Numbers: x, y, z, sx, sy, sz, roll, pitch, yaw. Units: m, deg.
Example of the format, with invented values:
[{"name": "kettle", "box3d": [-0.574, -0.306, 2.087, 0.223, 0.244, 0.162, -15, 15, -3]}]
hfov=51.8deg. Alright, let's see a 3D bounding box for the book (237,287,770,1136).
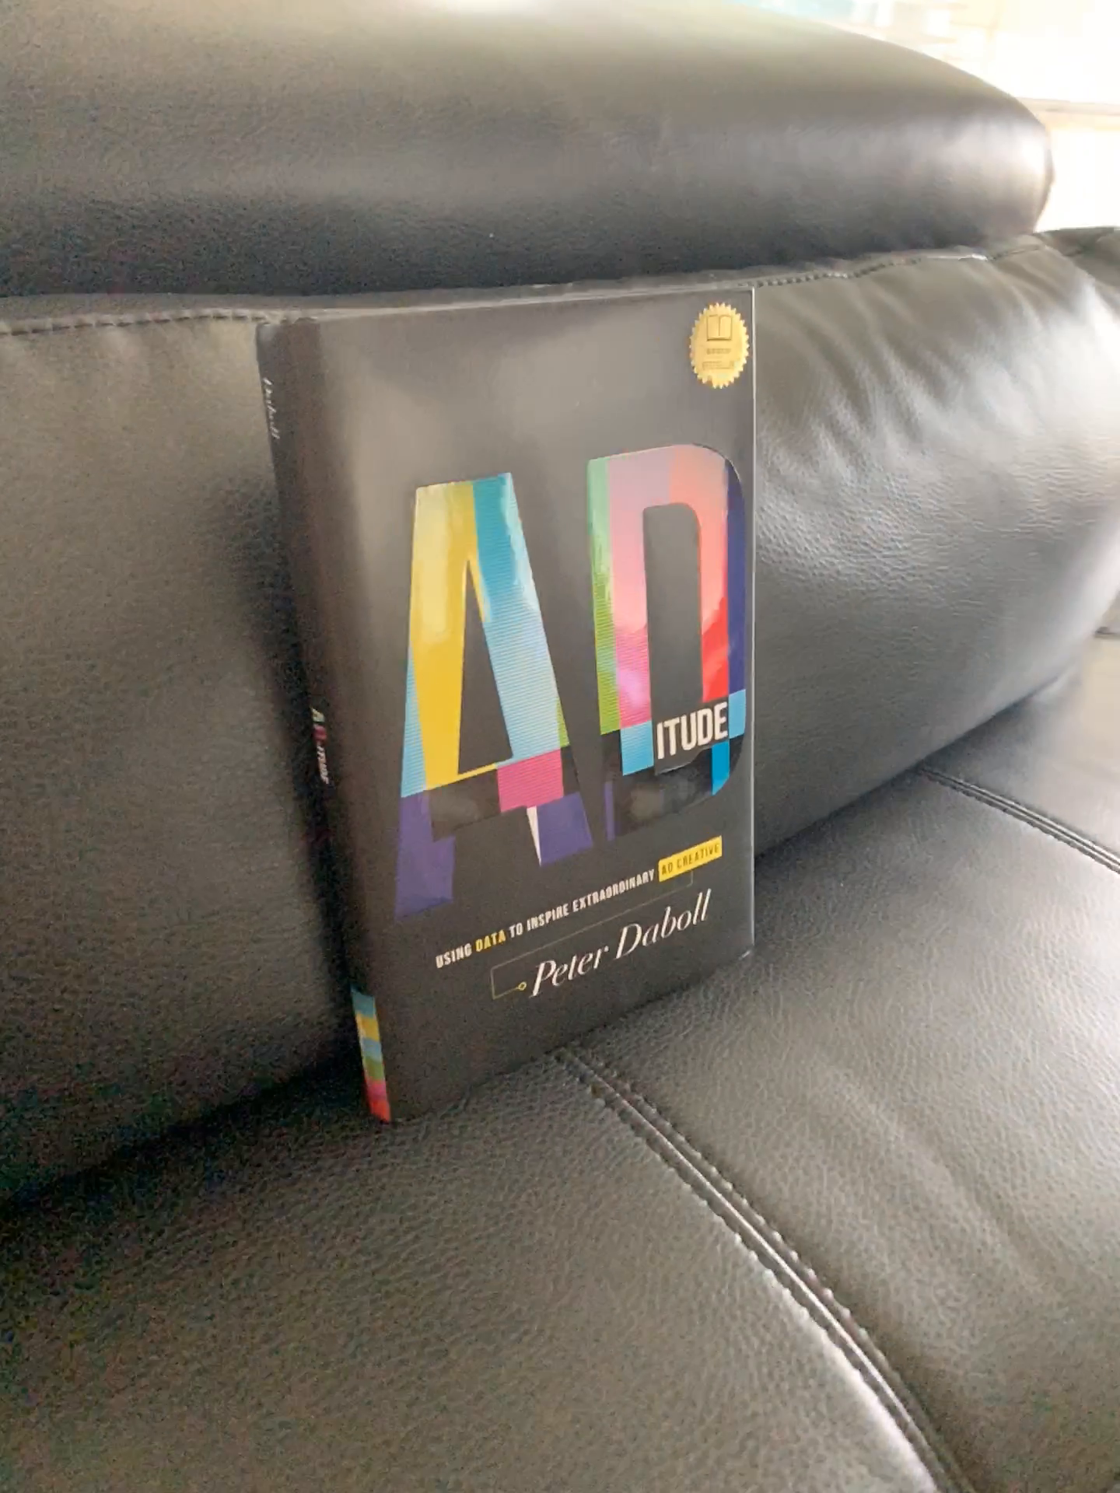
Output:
[{"name": "book", "box3d": [-0.001, -0.014, 0.365, 0.161, 0.235, 0.025, -18, 24, -31]}]
